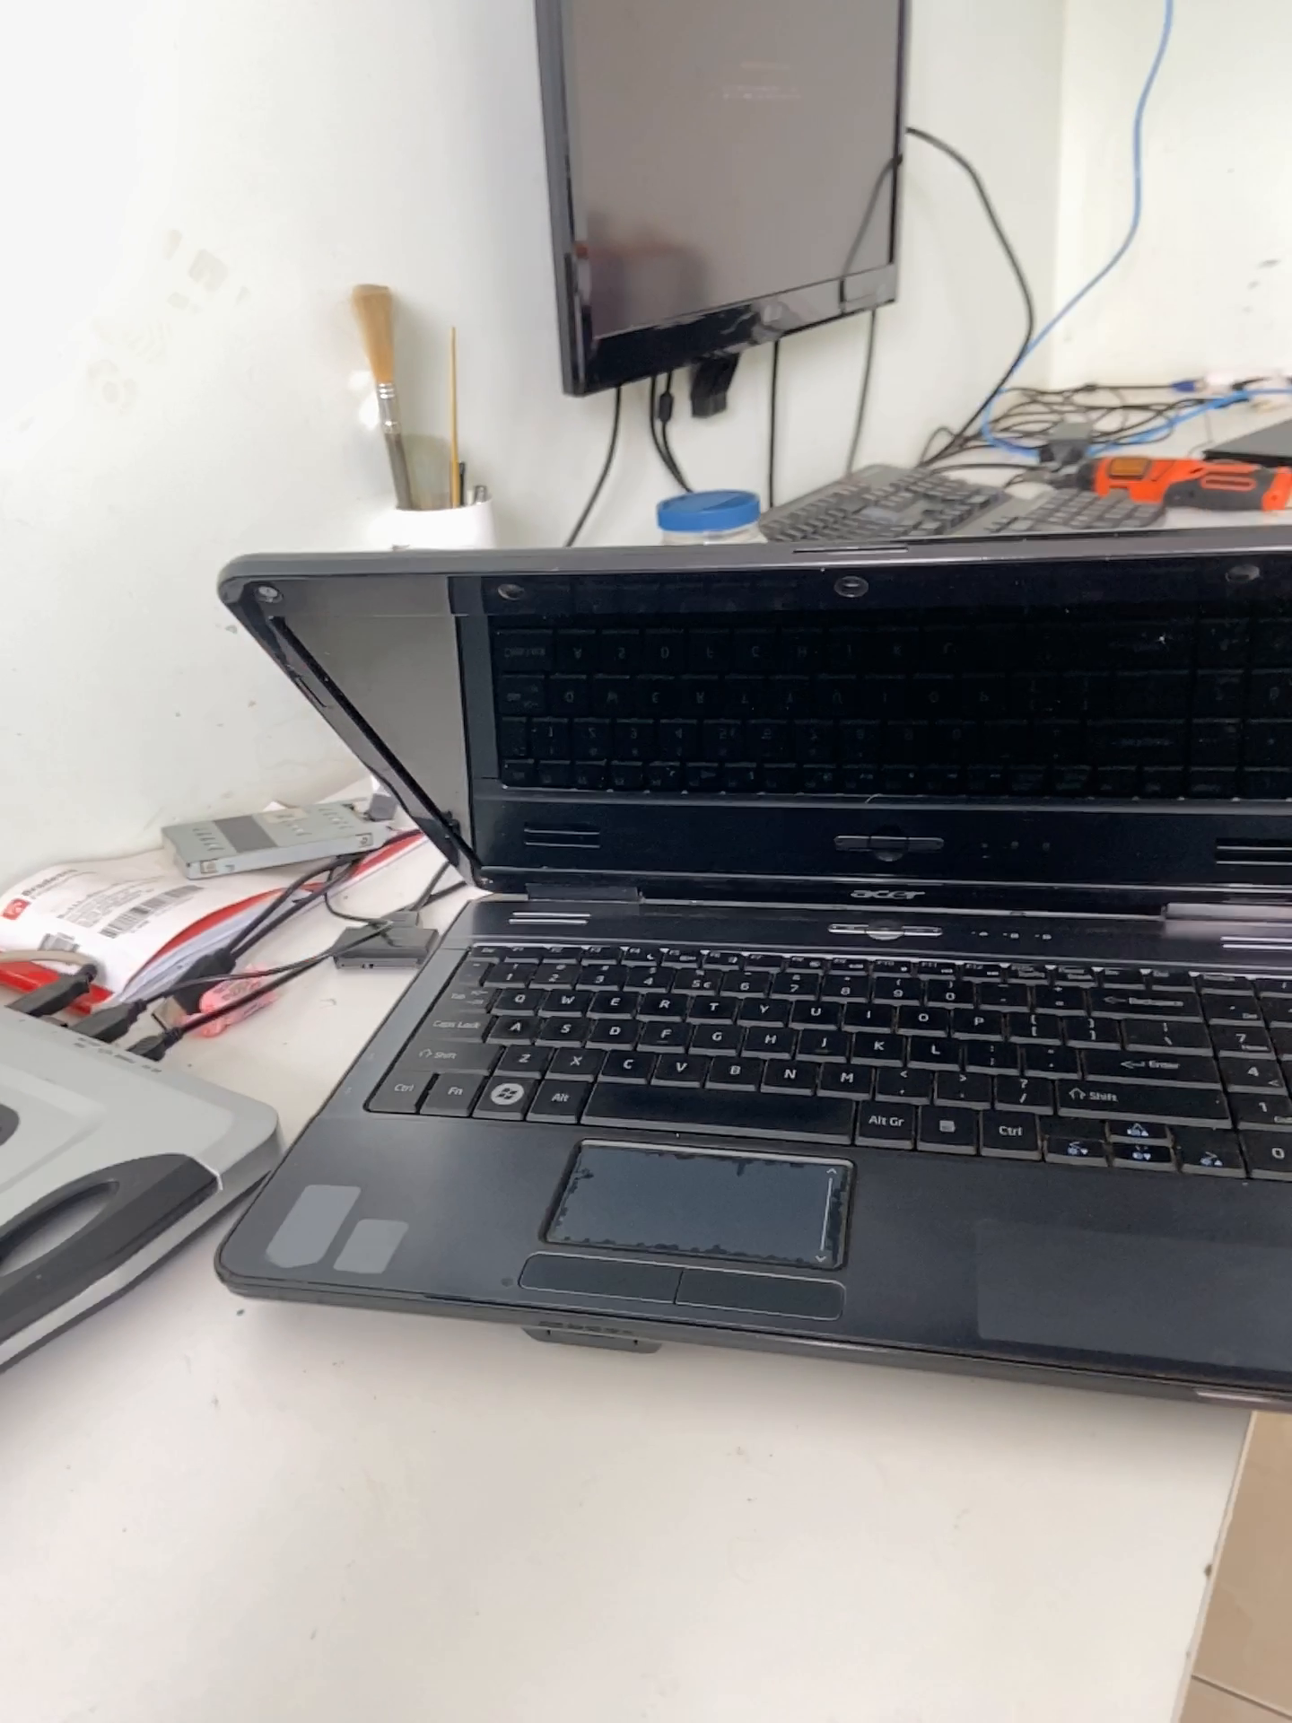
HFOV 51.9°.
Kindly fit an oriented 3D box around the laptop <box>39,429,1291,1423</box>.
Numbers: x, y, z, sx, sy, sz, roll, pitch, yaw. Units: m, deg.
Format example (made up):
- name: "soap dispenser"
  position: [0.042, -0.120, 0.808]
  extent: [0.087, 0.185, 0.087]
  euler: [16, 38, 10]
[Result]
- name: "laptop"
  position: [0.070, -0.010, 0.411]
  extent: [0.366, 0.183, 0.234]
  euler: [1, 27, 14]
